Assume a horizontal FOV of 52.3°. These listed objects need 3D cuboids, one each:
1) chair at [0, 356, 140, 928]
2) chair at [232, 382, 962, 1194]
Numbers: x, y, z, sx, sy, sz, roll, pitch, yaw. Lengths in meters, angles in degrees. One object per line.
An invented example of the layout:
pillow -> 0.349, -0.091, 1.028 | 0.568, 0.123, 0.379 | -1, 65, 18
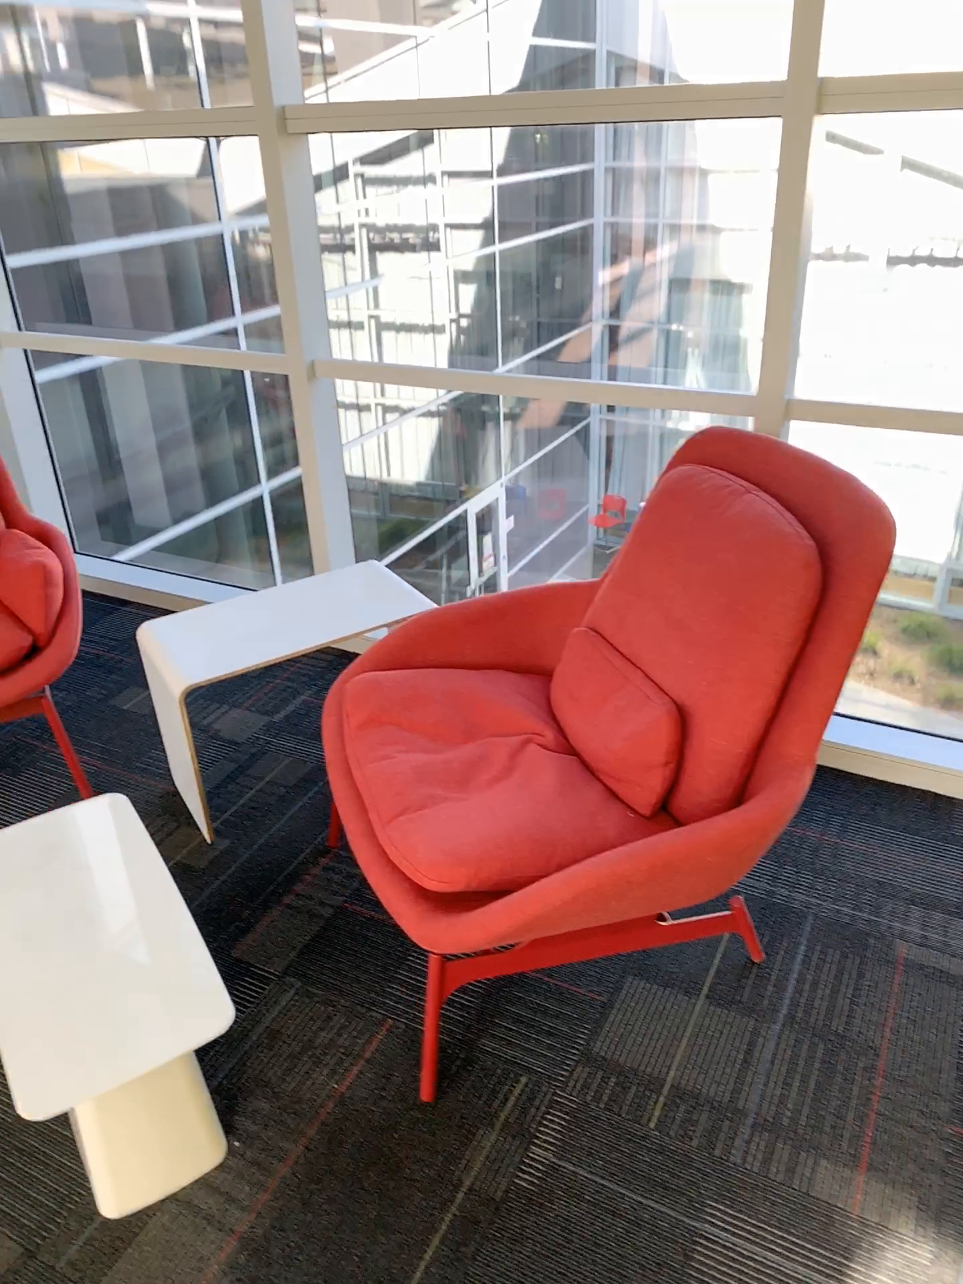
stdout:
chair -> -1.507, -0.071, 2.541 | 0.870, 1.054, 0.825 | -15, 31, -22
chair -> 0.154, 0.162, 1.860 | 0.920, 0.994, 0.875 | -14, 30, -20
